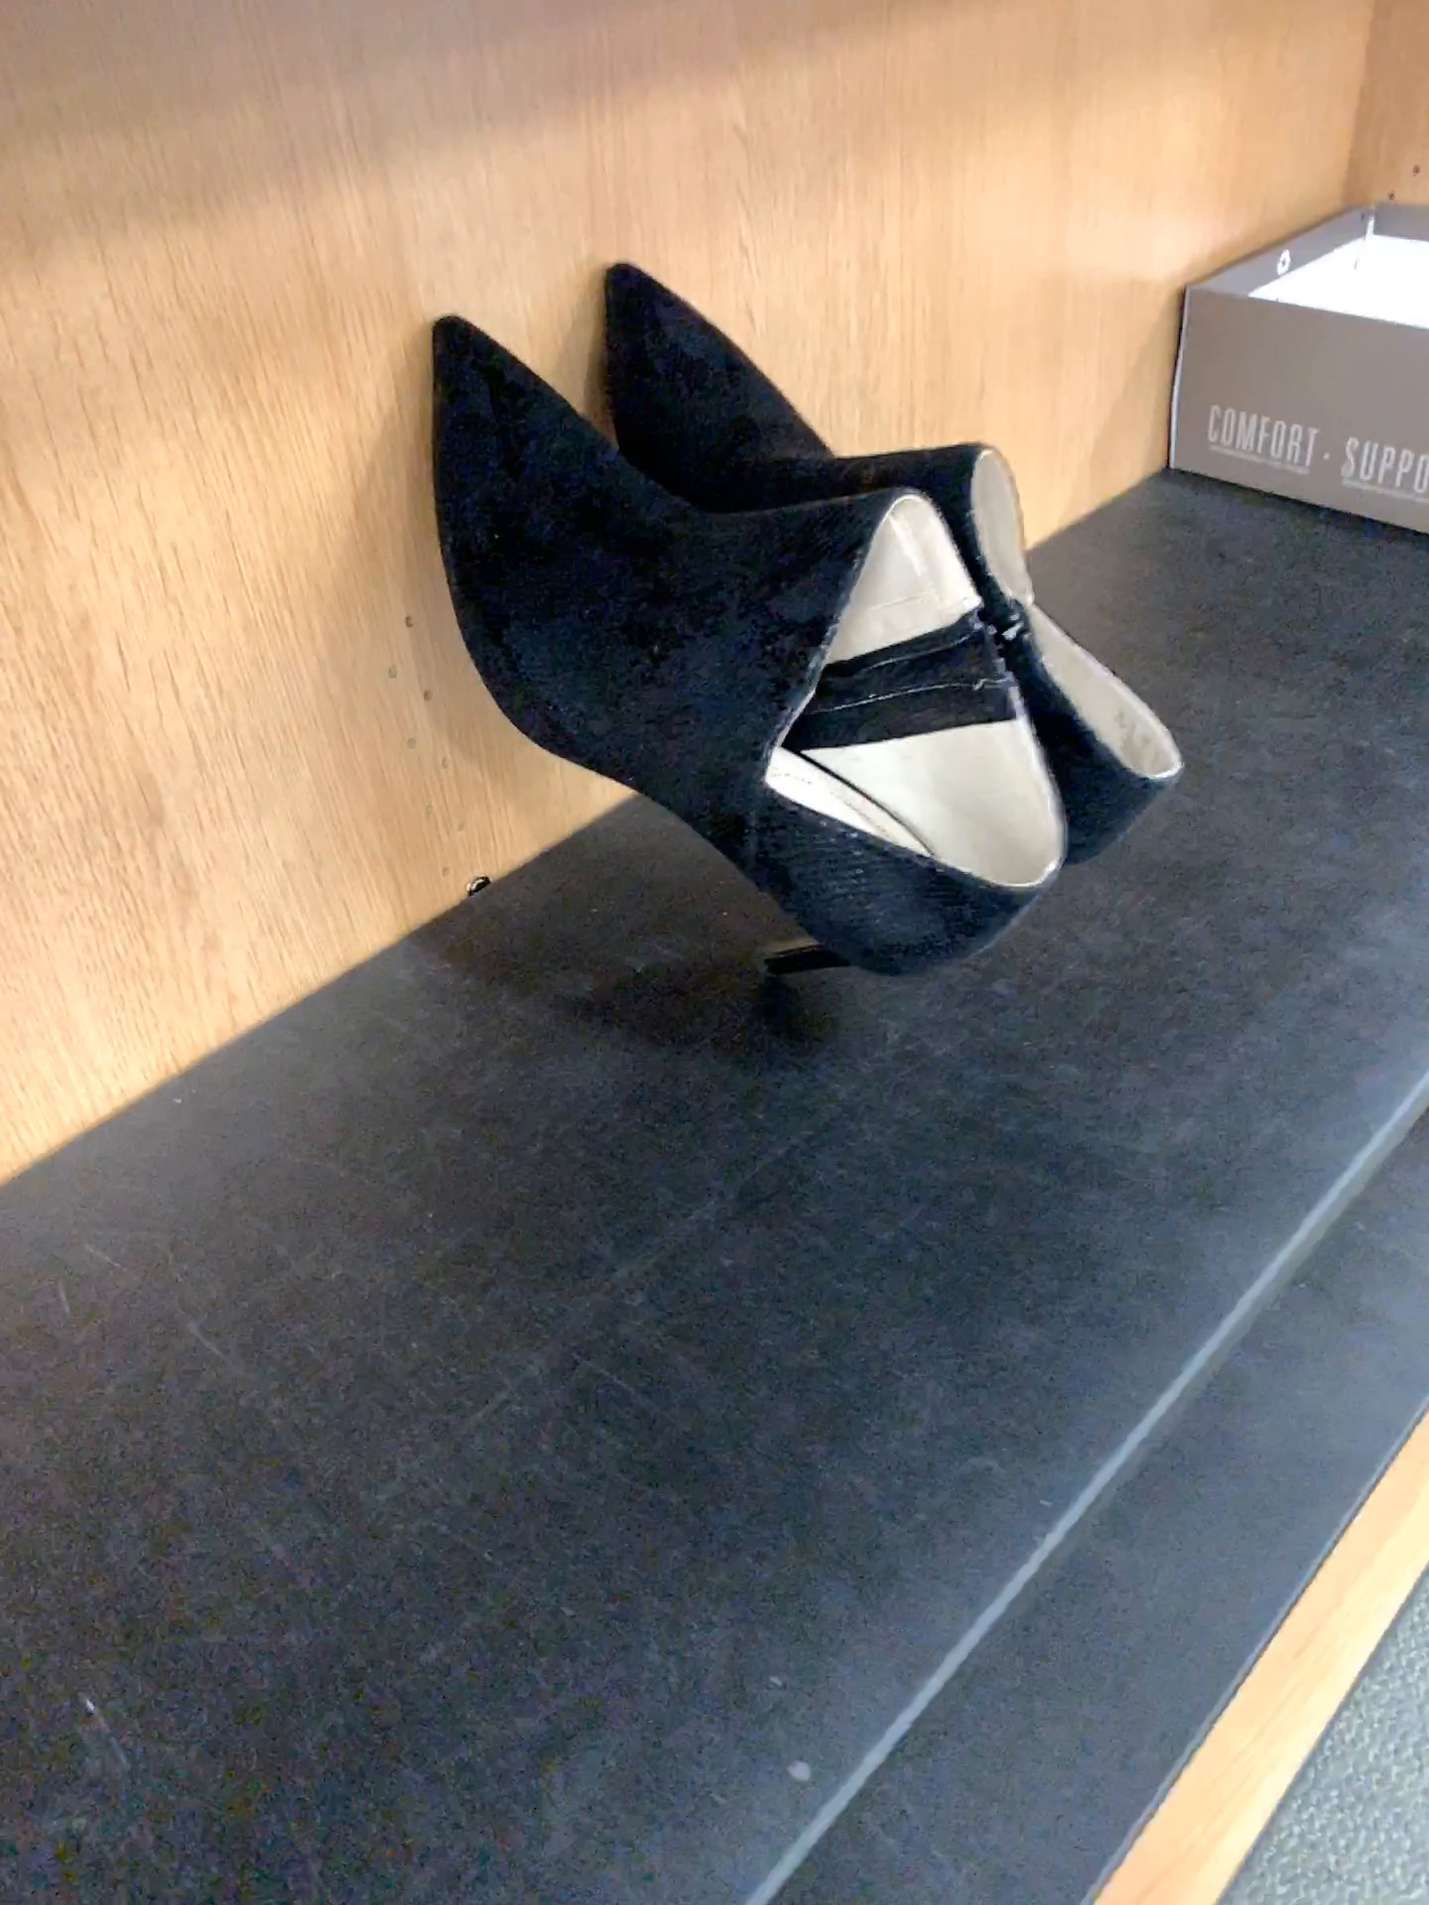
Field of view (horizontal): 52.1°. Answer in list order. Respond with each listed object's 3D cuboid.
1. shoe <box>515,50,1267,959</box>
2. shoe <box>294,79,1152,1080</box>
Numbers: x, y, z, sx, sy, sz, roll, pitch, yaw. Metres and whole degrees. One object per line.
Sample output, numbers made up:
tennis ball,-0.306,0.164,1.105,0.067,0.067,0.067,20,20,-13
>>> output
shoe,0.060,-0.151,0.543,0.111,0.280,0.120,-34,7,-21
shoe,-0.003,-0.107,0.481,0.101,0.270,0.140,-36,7,-31
